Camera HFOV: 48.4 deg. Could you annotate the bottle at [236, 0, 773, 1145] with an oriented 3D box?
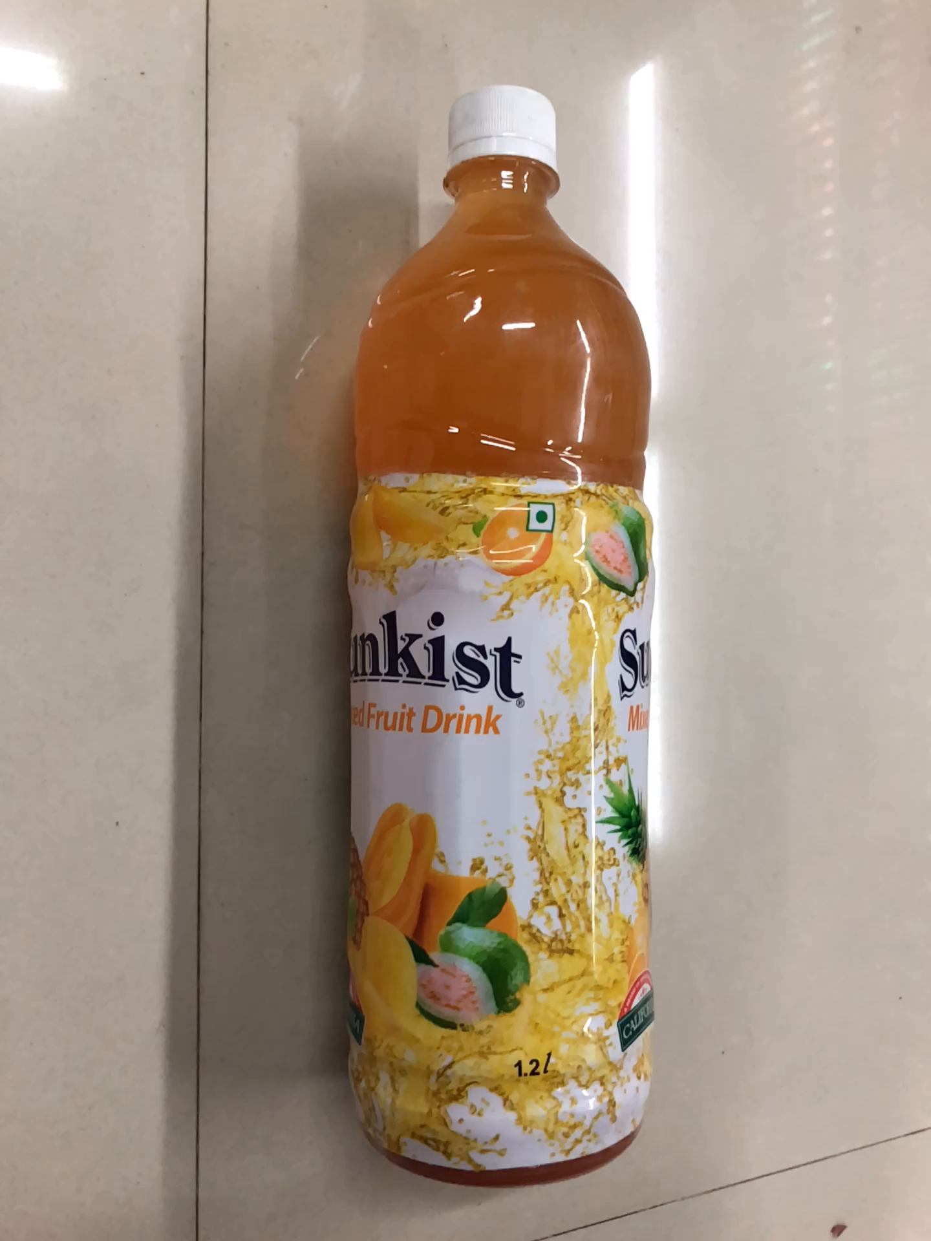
[{"bbox_3d":[0.010,-0.034,0.278,0.100,0.080,0.290,-6,94,-27],"label":"bottle"}]
